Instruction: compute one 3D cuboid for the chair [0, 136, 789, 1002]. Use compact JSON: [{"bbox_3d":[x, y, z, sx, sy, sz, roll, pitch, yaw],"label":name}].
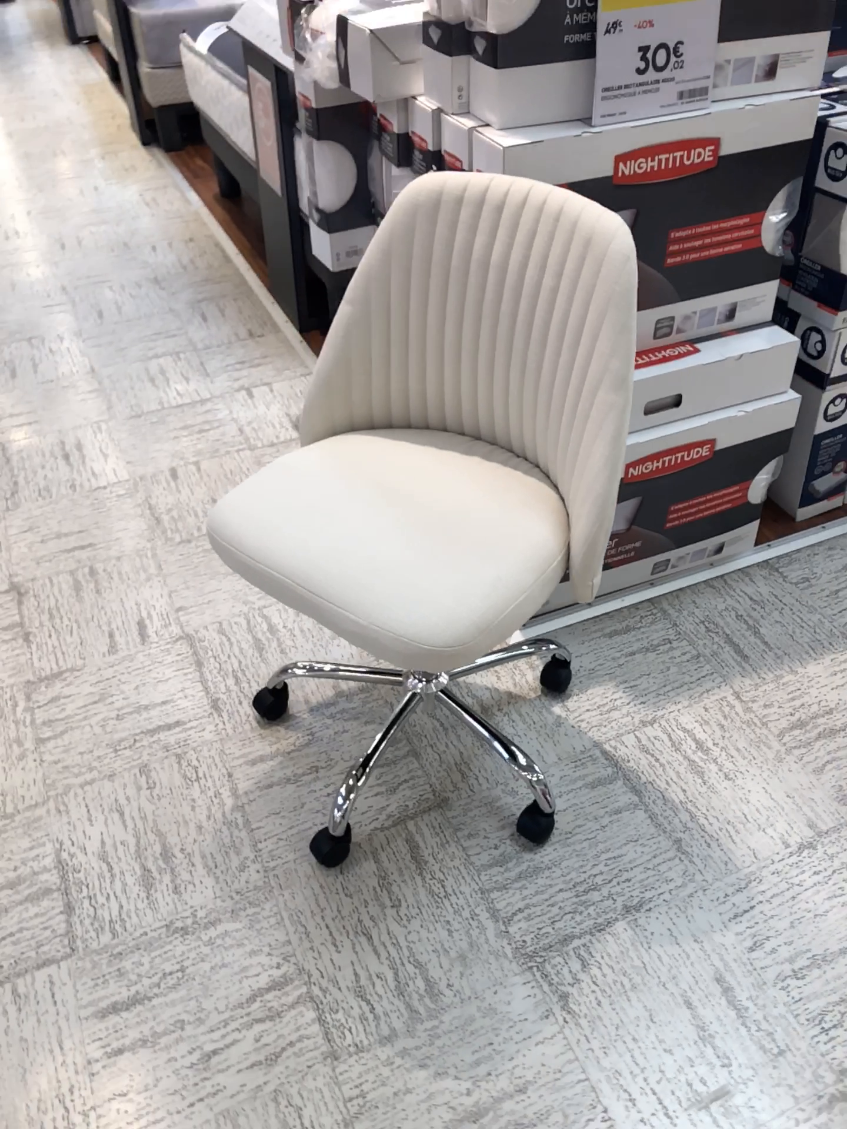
[{"bbox_3d":[-0.032,-0.040,1.270,0.700,0.785,0.634,21,45,25],"label":"chair"}]
